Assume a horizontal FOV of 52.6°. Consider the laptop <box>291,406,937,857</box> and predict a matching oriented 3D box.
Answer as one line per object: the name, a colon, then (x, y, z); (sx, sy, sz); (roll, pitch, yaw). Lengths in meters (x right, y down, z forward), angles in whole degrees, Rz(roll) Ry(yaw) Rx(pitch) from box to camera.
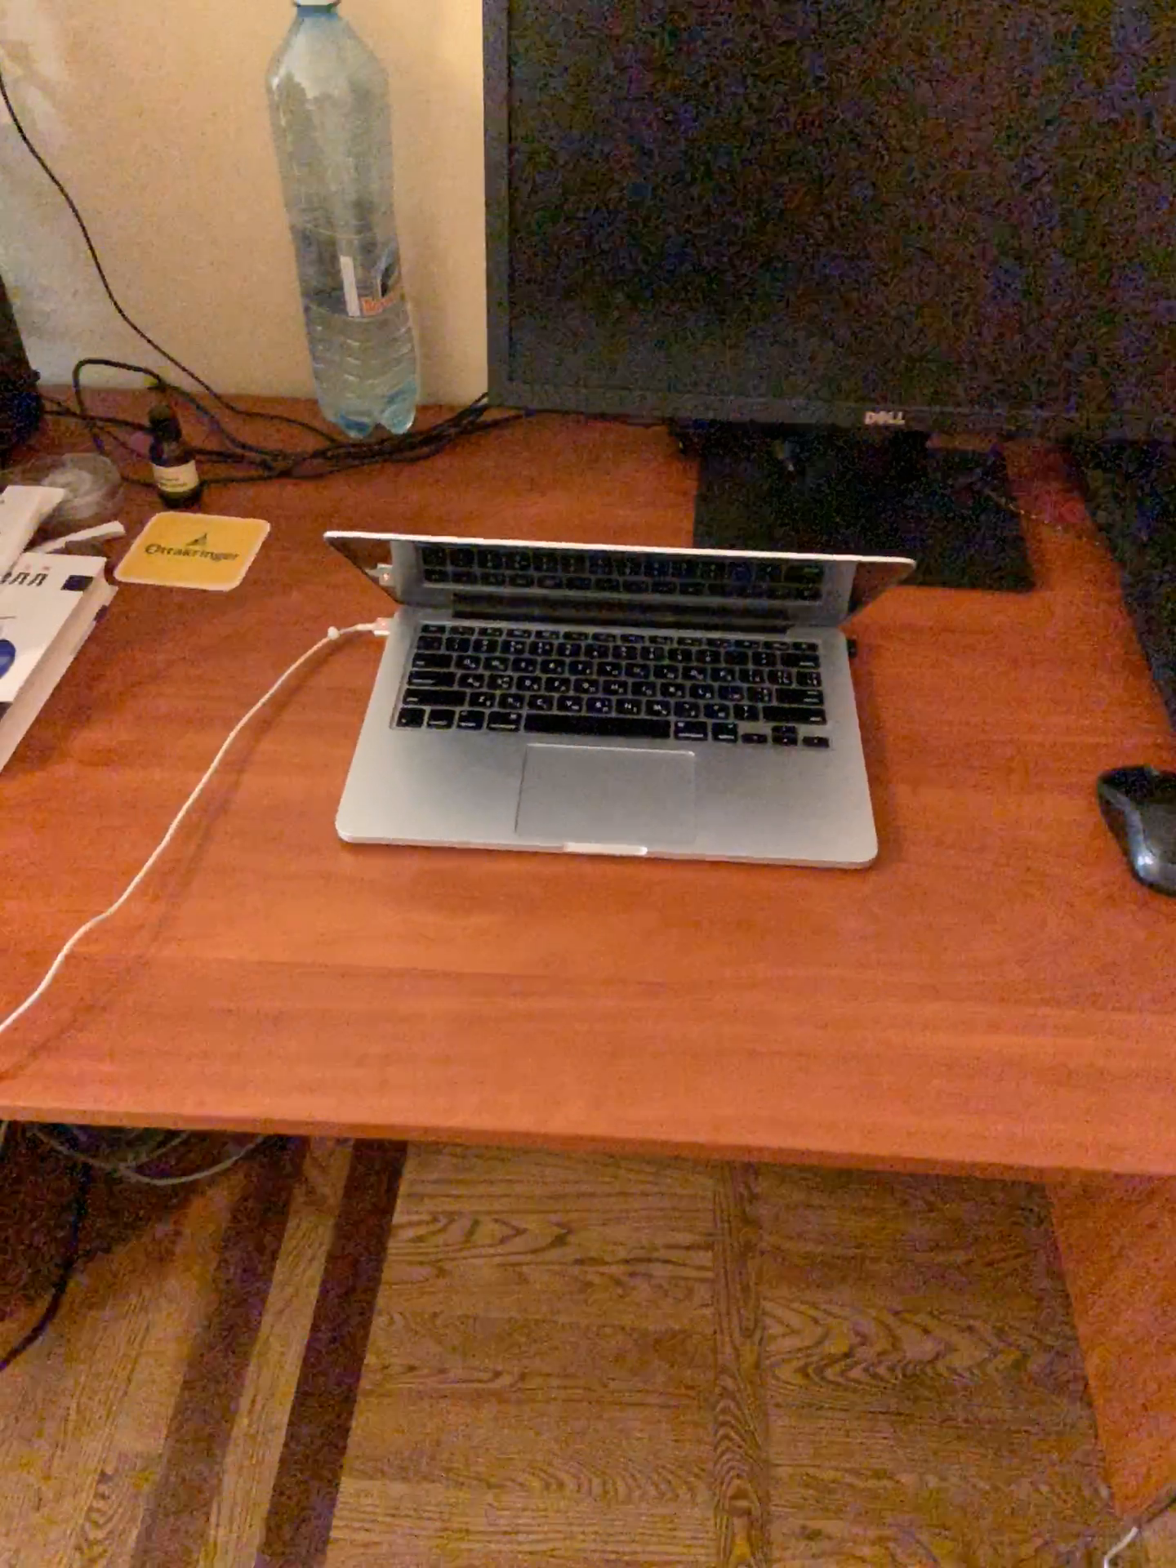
laptop: (0.018, -0.092, 0.684); (0.302, 0.150, 0.208); (3, 45, 1)
